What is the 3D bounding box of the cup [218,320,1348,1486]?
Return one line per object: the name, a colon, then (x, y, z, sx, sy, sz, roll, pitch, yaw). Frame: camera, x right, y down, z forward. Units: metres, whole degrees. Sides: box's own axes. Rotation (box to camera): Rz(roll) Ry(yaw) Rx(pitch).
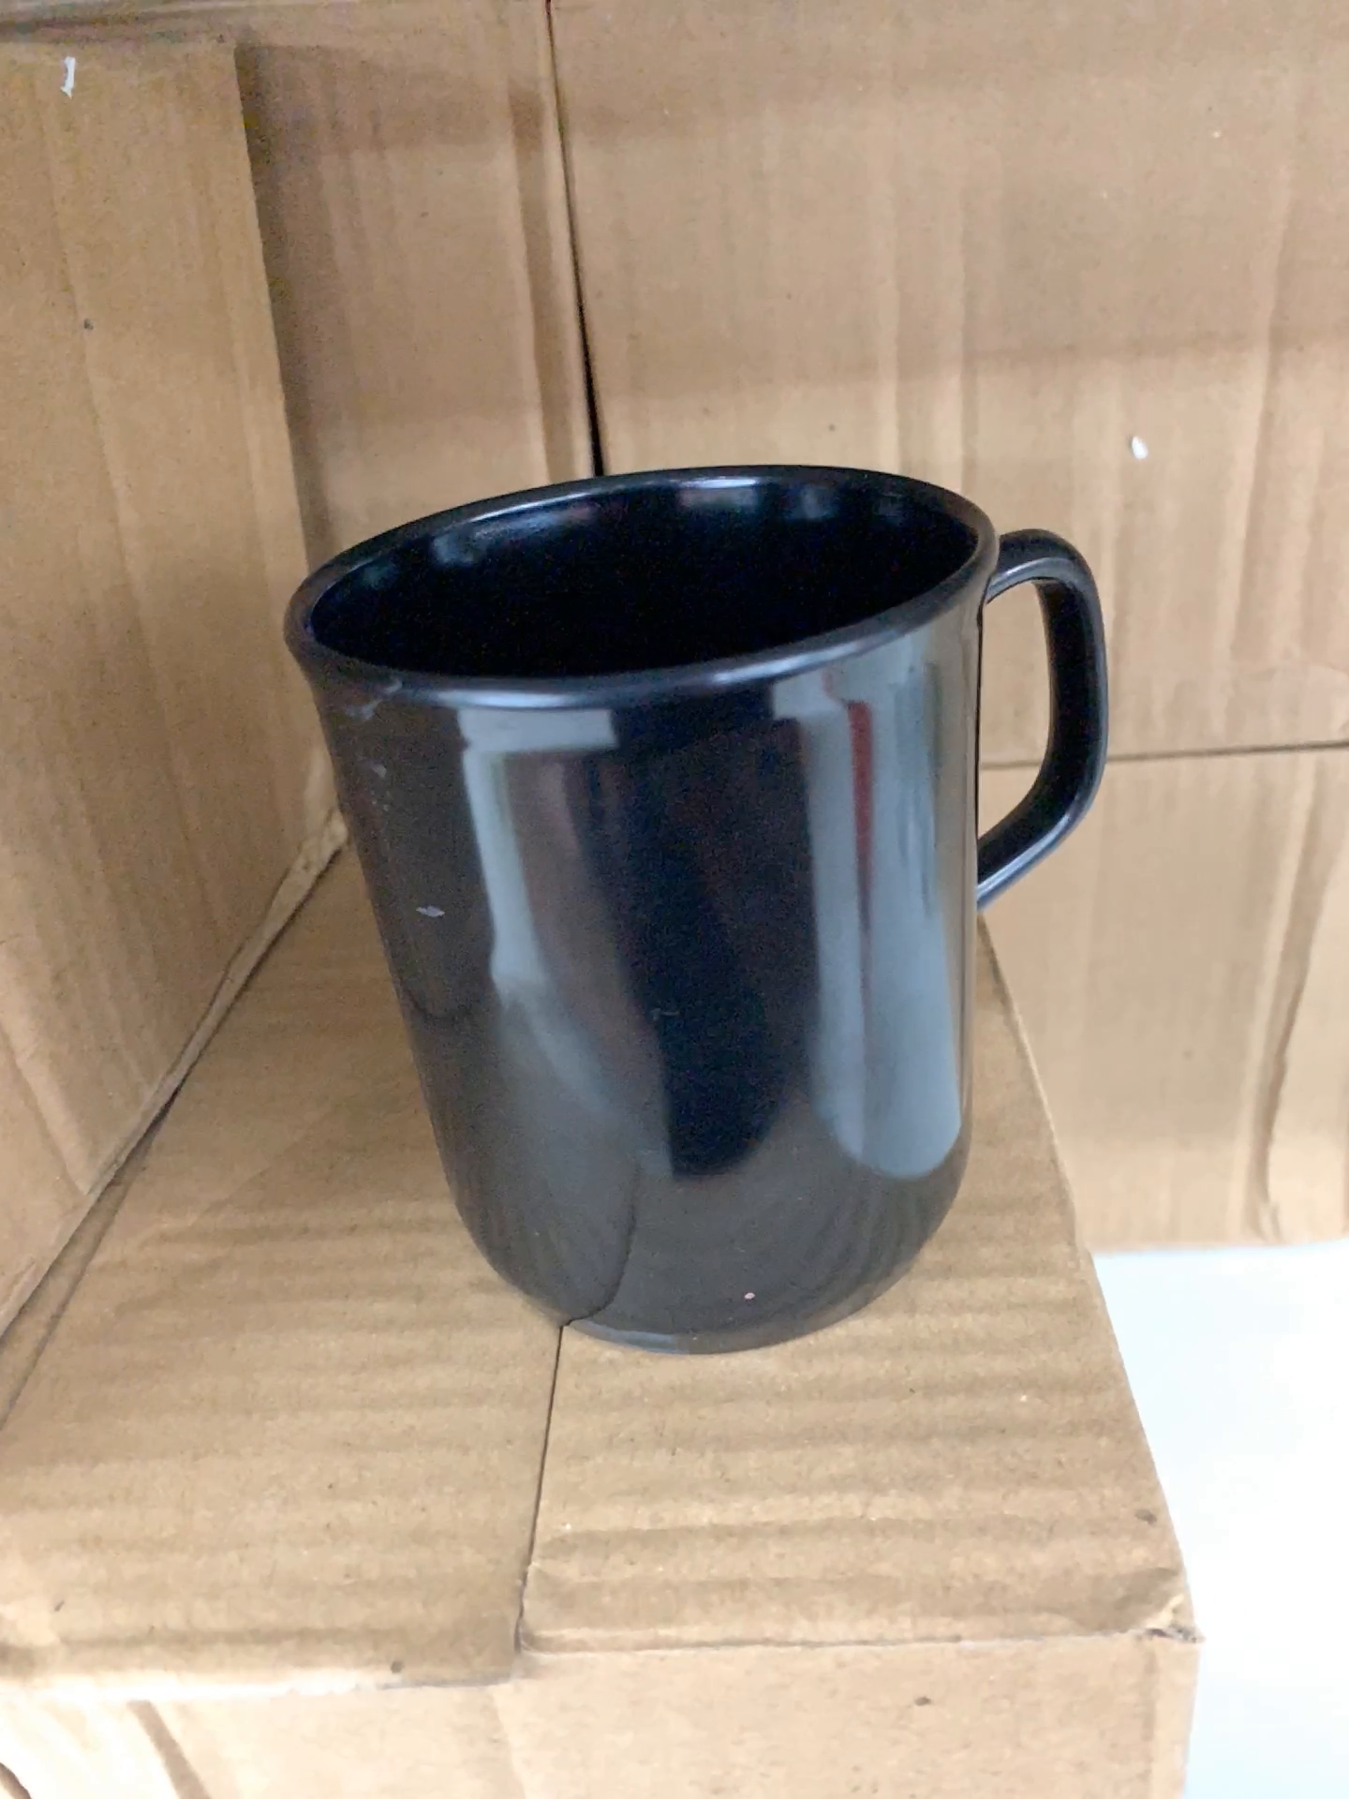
cup: (0.016, -0.009, 0.171, 0.100, 0.089, 0.070, -23, 36, -24)
